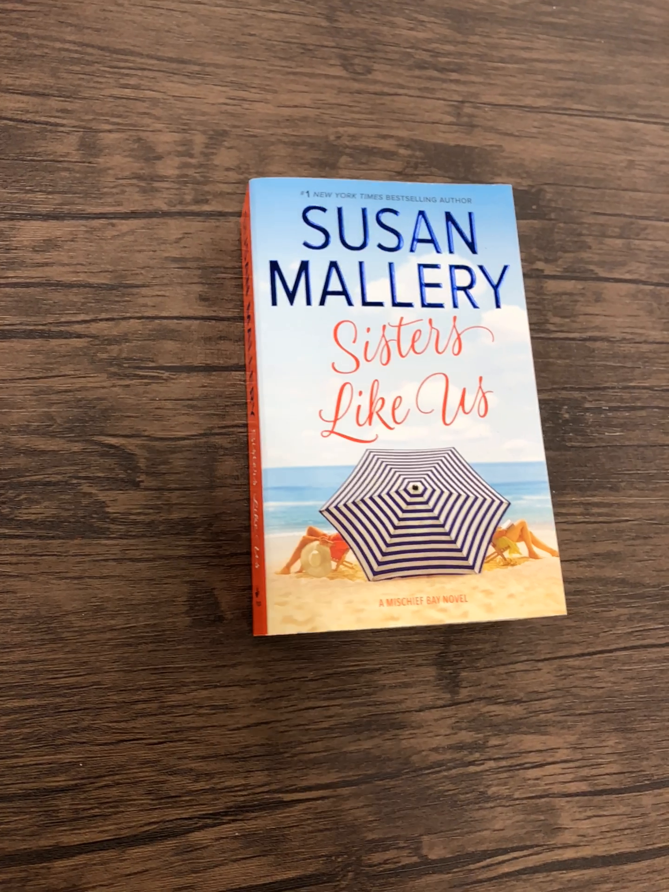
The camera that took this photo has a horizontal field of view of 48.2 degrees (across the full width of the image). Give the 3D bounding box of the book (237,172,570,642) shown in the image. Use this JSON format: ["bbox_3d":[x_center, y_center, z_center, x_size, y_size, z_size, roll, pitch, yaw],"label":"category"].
[{"bbox_3d":[0.019,-0.014,0.276,0.104,0.043,0.160,-1,78,-10],"label":"book"}]
